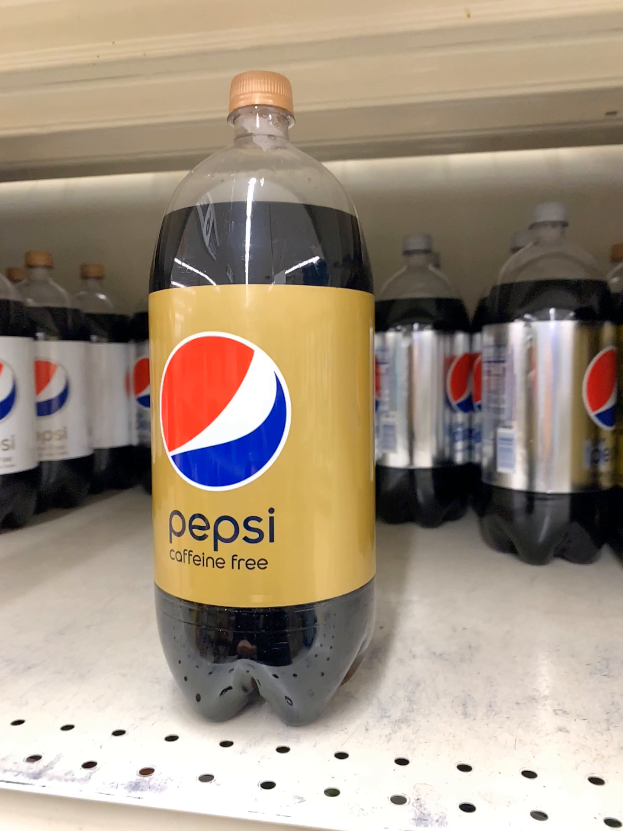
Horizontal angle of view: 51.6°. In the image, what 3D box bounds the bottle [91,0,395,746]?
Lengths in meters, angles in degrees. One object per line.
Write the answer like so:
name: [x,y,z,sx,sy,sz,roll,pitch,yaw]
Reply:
bottle: [-0.023,-0.022,0.316,0.110,0.300,0.110,0,4,0]
